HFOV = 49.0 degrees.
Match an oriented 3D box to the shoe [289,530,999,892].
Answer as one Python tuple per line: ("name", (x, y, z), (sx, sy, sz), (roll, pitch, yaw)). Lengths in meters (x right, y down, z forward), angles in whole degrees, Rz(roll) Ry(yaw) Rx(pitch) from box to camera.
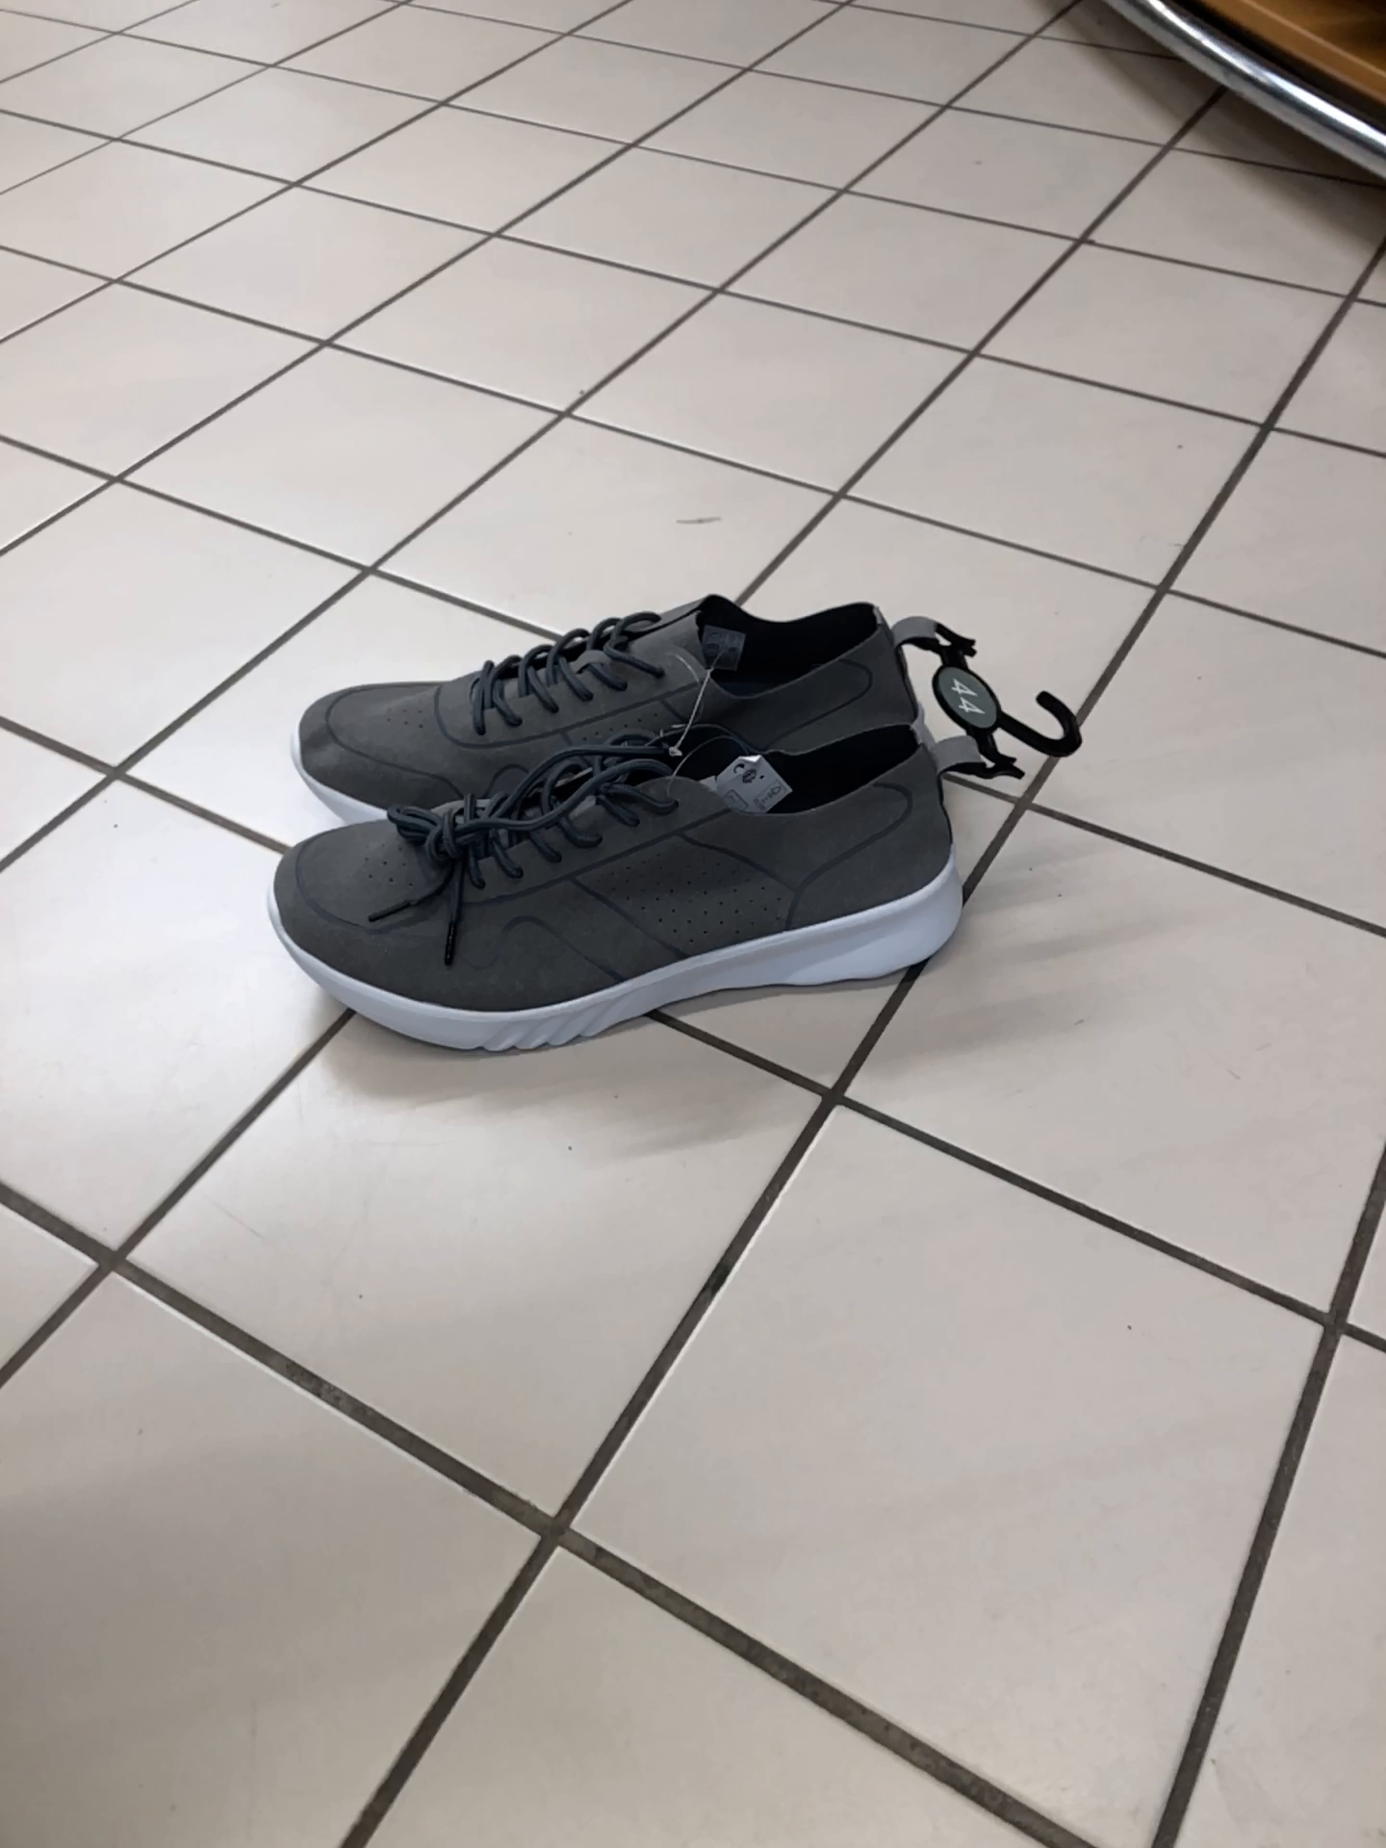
("shoe", (-0.021, -0.098, 0.695), (0.290, 0.099, 0.111), (-4, 47, -2))

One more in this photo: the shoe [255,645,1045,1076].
("shoe", (-0.019, -0.028, 0.629), (0.290, 0.099, 0.111), (-6, 47, -4))
